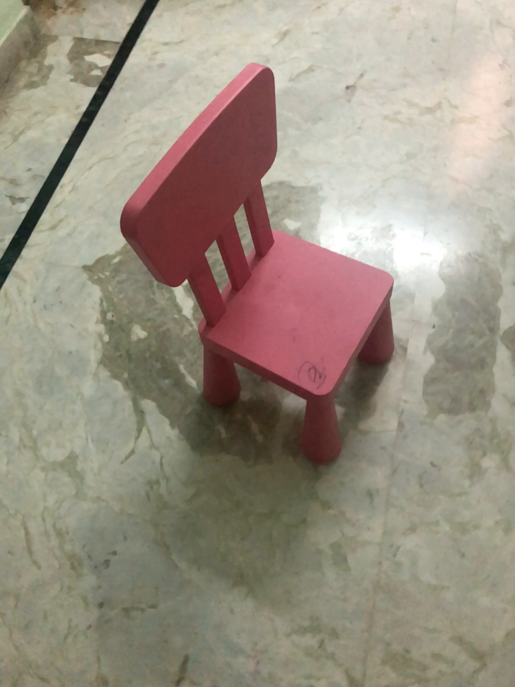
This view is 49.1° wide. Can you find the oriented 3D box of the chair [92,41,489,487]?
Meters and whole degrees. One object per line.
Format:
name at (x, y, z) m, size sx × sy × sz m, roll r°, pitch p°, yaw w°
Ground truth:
chair at (0.073, -0.089, 1.020) m, size 0.381 × 0.627 × 0.401 m, roll 25°, pitch 66°, yaw 17°
